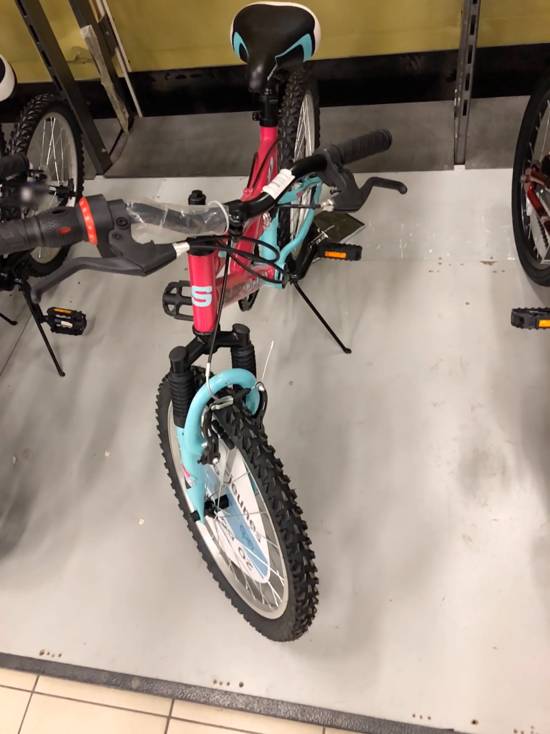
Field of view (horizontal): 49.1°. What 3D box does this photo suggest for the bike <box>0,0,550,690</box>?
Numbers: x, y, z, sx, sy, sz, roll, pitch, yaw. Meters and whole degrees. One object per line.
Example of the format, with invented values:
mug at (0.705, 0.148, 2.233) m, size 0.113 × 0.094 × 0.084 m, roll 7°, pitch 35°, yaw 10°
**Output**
bike at (0.097, -0.196, 1.104) m, size 0.563 × 0.764 × 1.219 m, roll -3°, pitch 57°, yaw 10°
